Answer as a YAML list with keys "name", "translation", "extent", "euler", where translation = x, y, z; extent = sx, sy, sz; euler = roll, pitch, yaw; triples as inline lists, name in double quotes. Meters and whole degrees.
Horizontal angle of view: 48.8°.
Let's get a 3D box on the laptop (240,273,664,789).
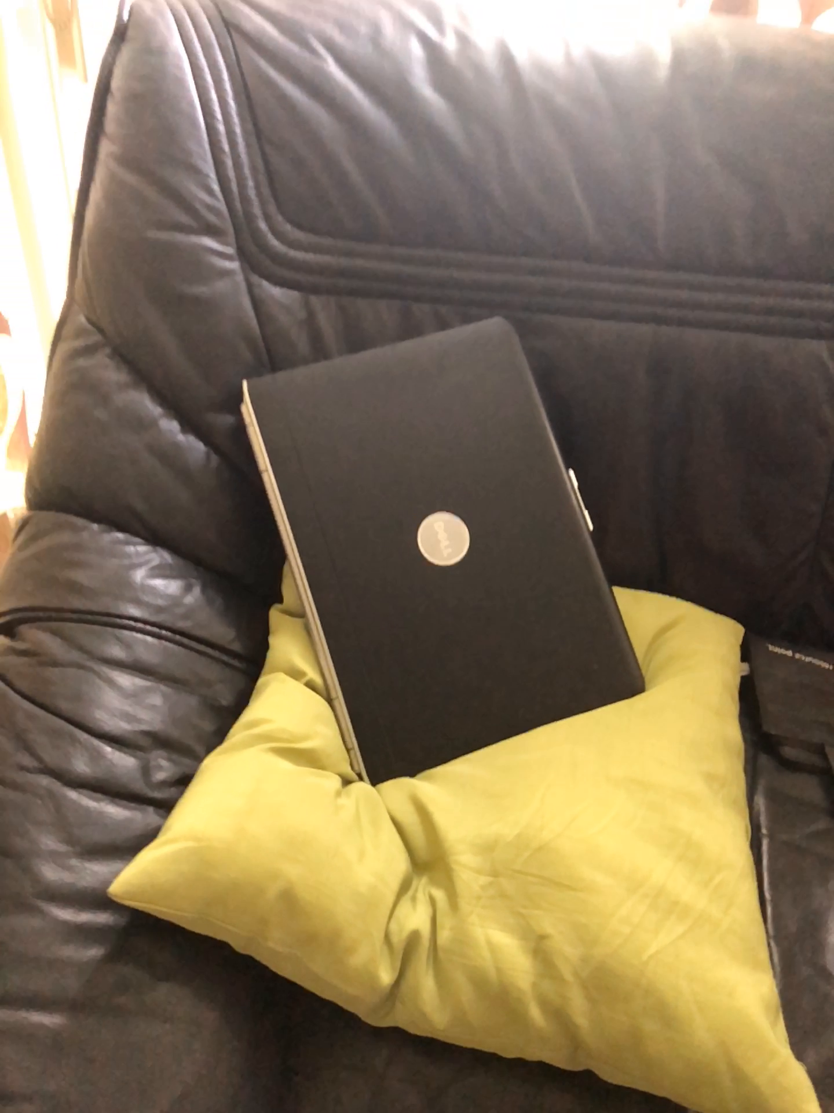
- name: "laptop"
  translation: [0.026, -0.031, 0.750]
  extent: [0.247, 0.033, 0.345]
  euler: [-17, 81, -12]
